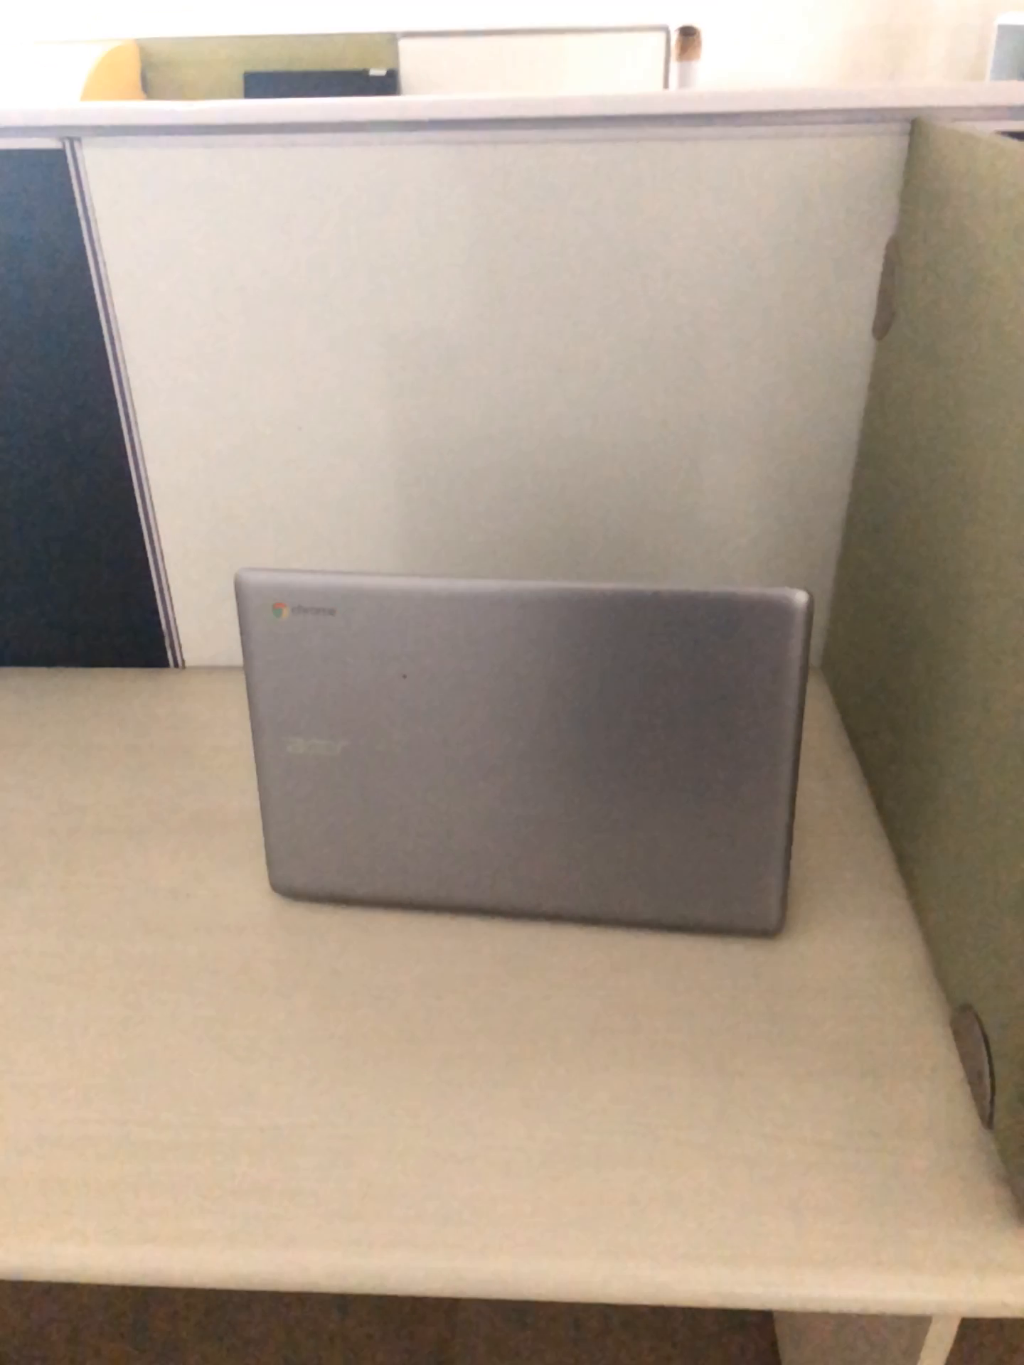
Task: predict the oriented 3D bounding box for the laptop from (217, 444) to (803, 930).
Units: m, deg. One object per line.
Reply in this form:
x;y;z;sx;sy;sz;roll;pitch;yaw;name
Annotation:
0.018;-0.008;0.759;0.321;0.218;0.222;4;31;6;laptop
